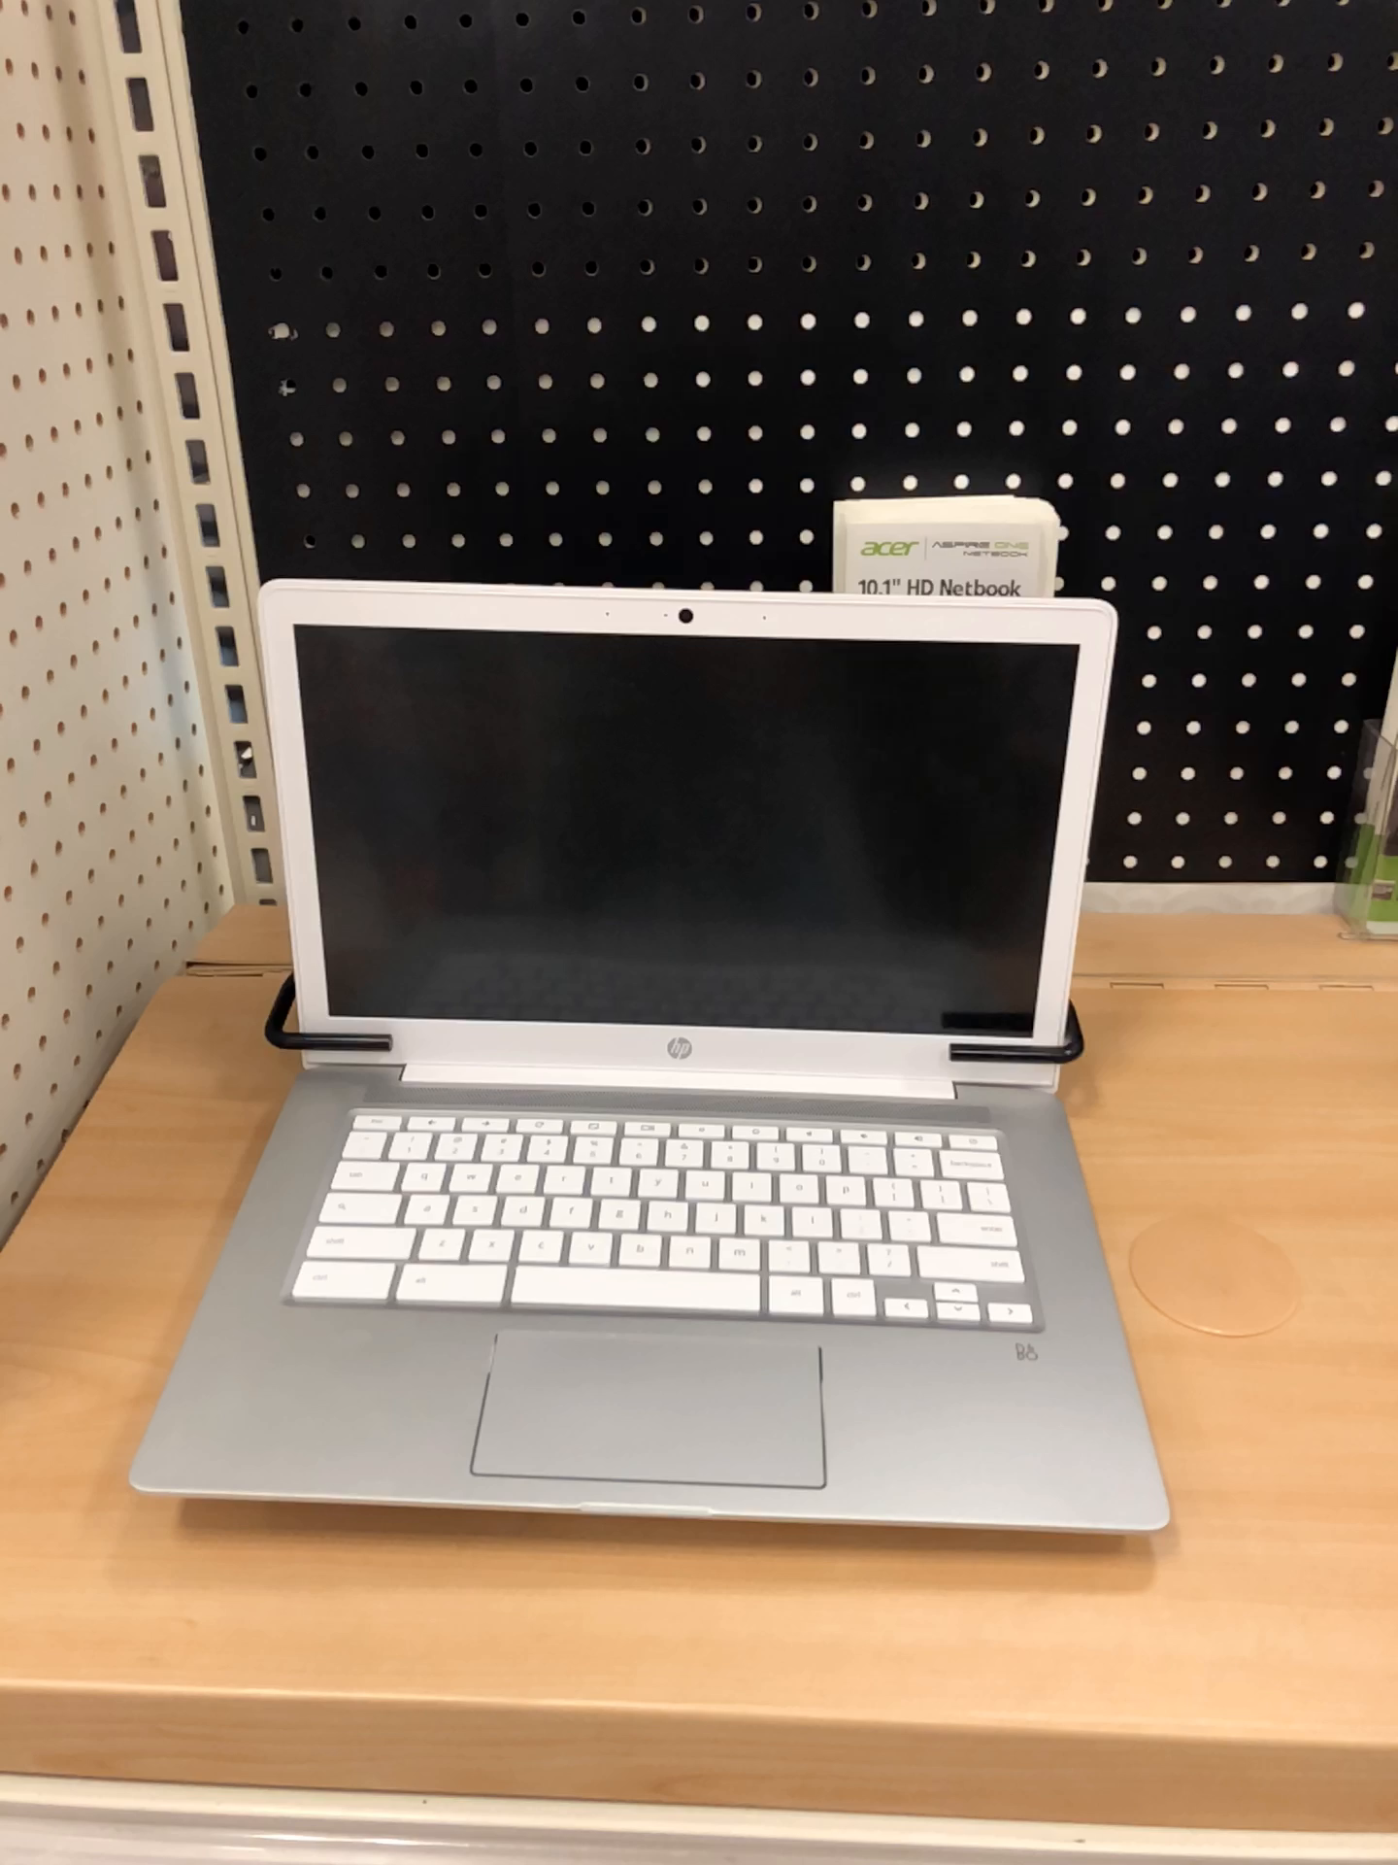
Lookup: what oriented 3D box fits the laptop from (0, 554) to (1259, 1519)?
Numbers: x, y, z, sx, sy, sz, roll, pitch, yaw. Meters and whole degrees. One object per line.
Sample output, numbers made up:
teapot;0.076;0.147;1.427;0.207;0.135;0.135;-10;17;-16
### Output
laptop;-0.015;0.014;0.558;0.333;0.198;0.281;1;30;1
